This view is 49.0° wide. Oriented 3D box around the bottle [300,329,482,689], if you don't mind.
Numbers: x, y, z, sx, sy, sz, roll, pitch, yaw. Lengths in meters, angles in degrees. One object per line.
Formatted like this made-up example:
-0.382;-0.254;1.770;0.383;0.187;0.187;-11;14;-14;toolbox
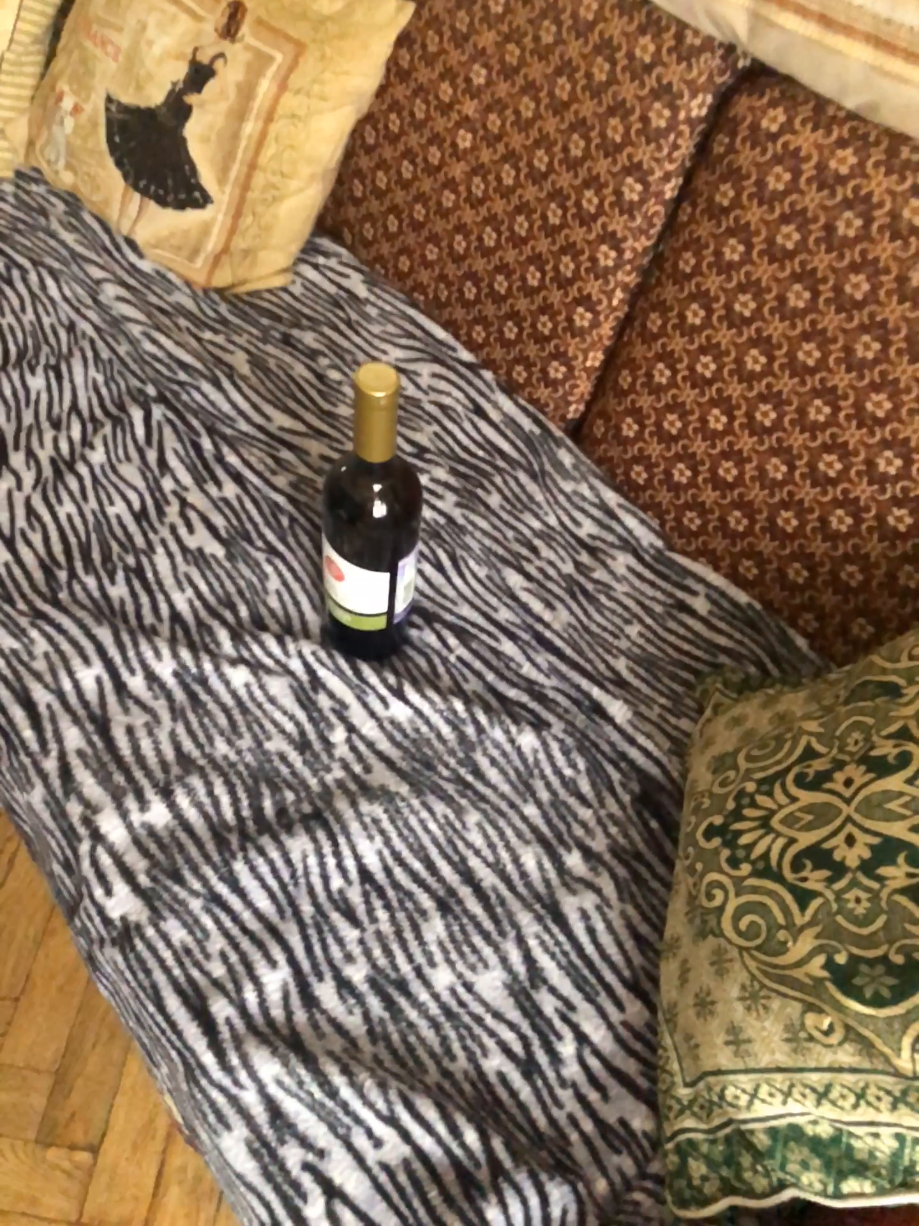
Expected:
-0.059;-0.062;0.735;0.080;0.269;0.080;4;54;-6;bottle
